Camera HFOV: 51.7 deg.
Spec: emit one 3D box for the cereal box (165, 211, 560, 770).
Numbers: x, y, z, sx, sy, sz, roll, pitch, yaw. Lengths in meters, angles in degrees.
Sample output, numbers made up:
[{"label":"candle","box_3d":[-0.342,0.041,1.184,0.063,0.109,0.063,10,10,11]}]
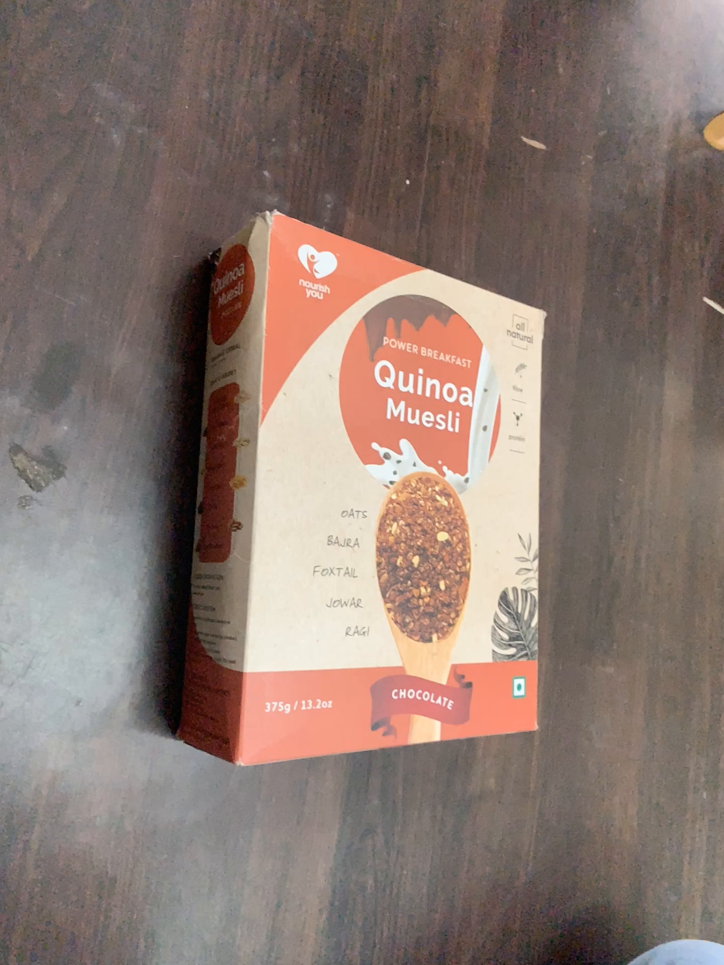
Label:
[{"label":"cereal box","box_3d":[0.009,0.011,0.355,0.171,0.070,0.210,8,79,-35]}]
